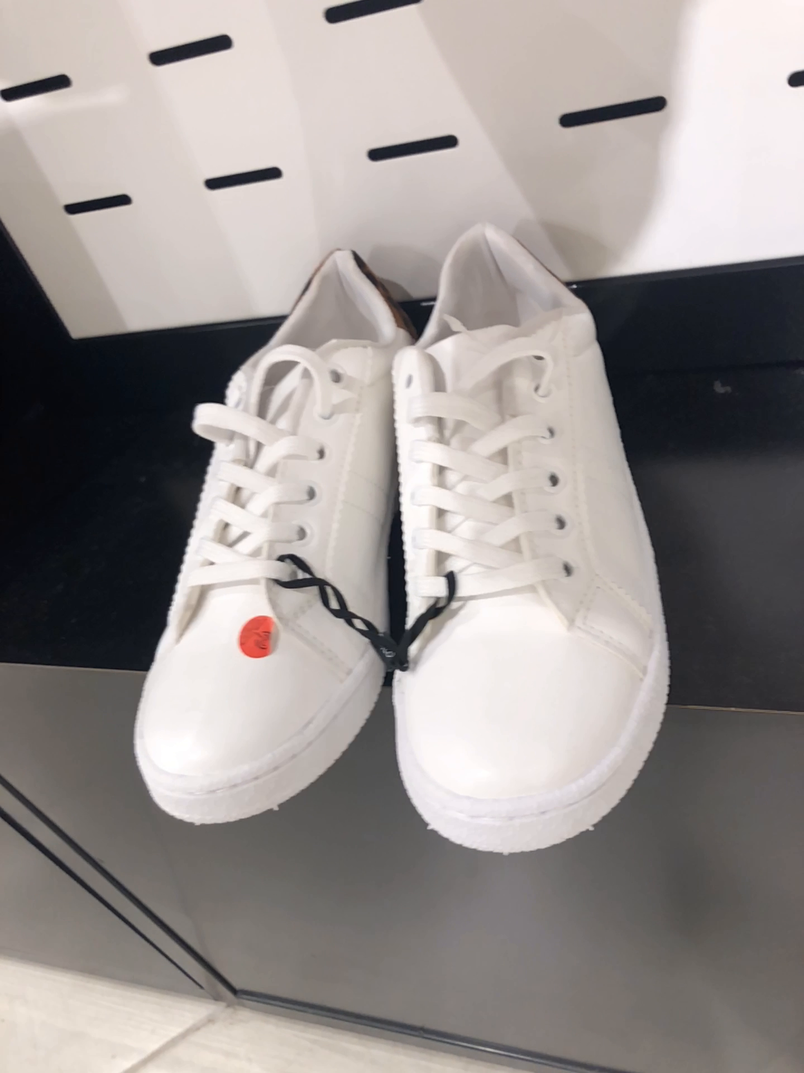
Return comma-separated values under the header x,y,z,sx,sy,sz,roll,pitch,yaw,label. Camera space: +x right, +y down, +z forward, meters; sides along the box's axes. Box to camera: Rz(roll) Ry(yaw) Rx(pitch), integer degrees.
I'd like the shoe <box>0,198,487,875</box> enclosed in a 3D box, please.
x,y,z,sx,sy,sz,roll,pitch,yaw,label
-0.038,-0.011,0.323,0.090,0.099,0.221,-3,49,20,shoe

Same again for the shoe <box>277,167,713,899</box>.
x,y,z,sx,sy,sz,roll,pitch,yaw,label
0.040,-0.011,0.296,0.090,0.099,0.221,-7,48,16,shoe
